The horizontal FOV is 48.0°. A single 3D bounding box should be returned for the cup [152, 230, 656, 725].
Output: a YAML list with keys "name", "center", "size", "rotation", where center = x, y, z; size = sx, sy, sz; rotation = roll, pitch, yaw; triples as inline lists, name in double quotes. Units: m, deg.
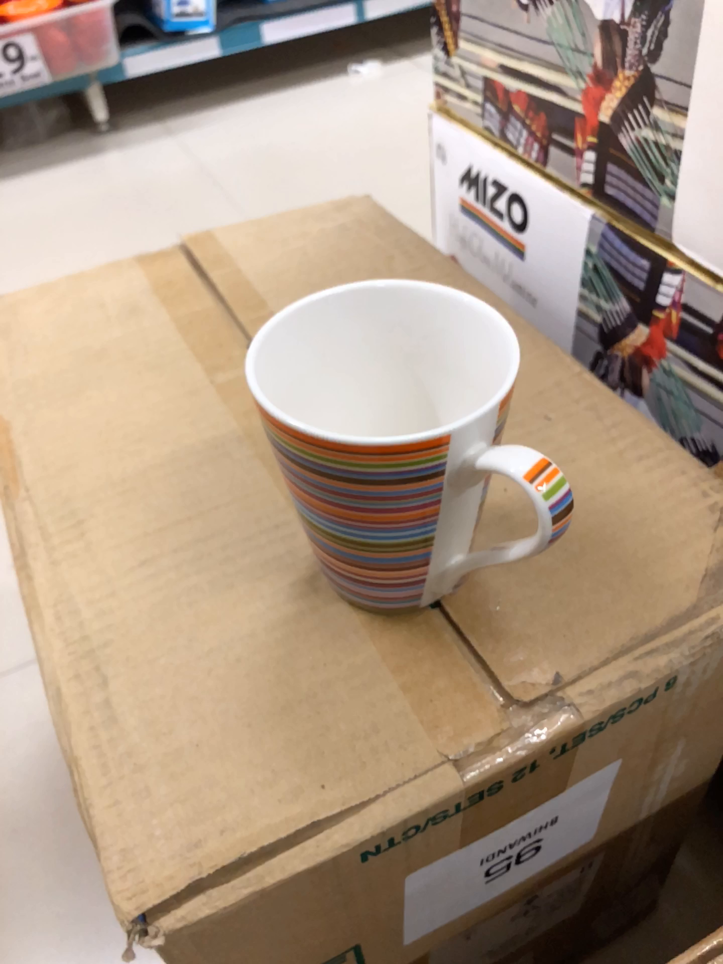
- name: "cup"
  center: [0.011, -0.009, 0.272]
  size: [0.080, 0.089, 0.130]
  rotation: [-37, 51, -28]
